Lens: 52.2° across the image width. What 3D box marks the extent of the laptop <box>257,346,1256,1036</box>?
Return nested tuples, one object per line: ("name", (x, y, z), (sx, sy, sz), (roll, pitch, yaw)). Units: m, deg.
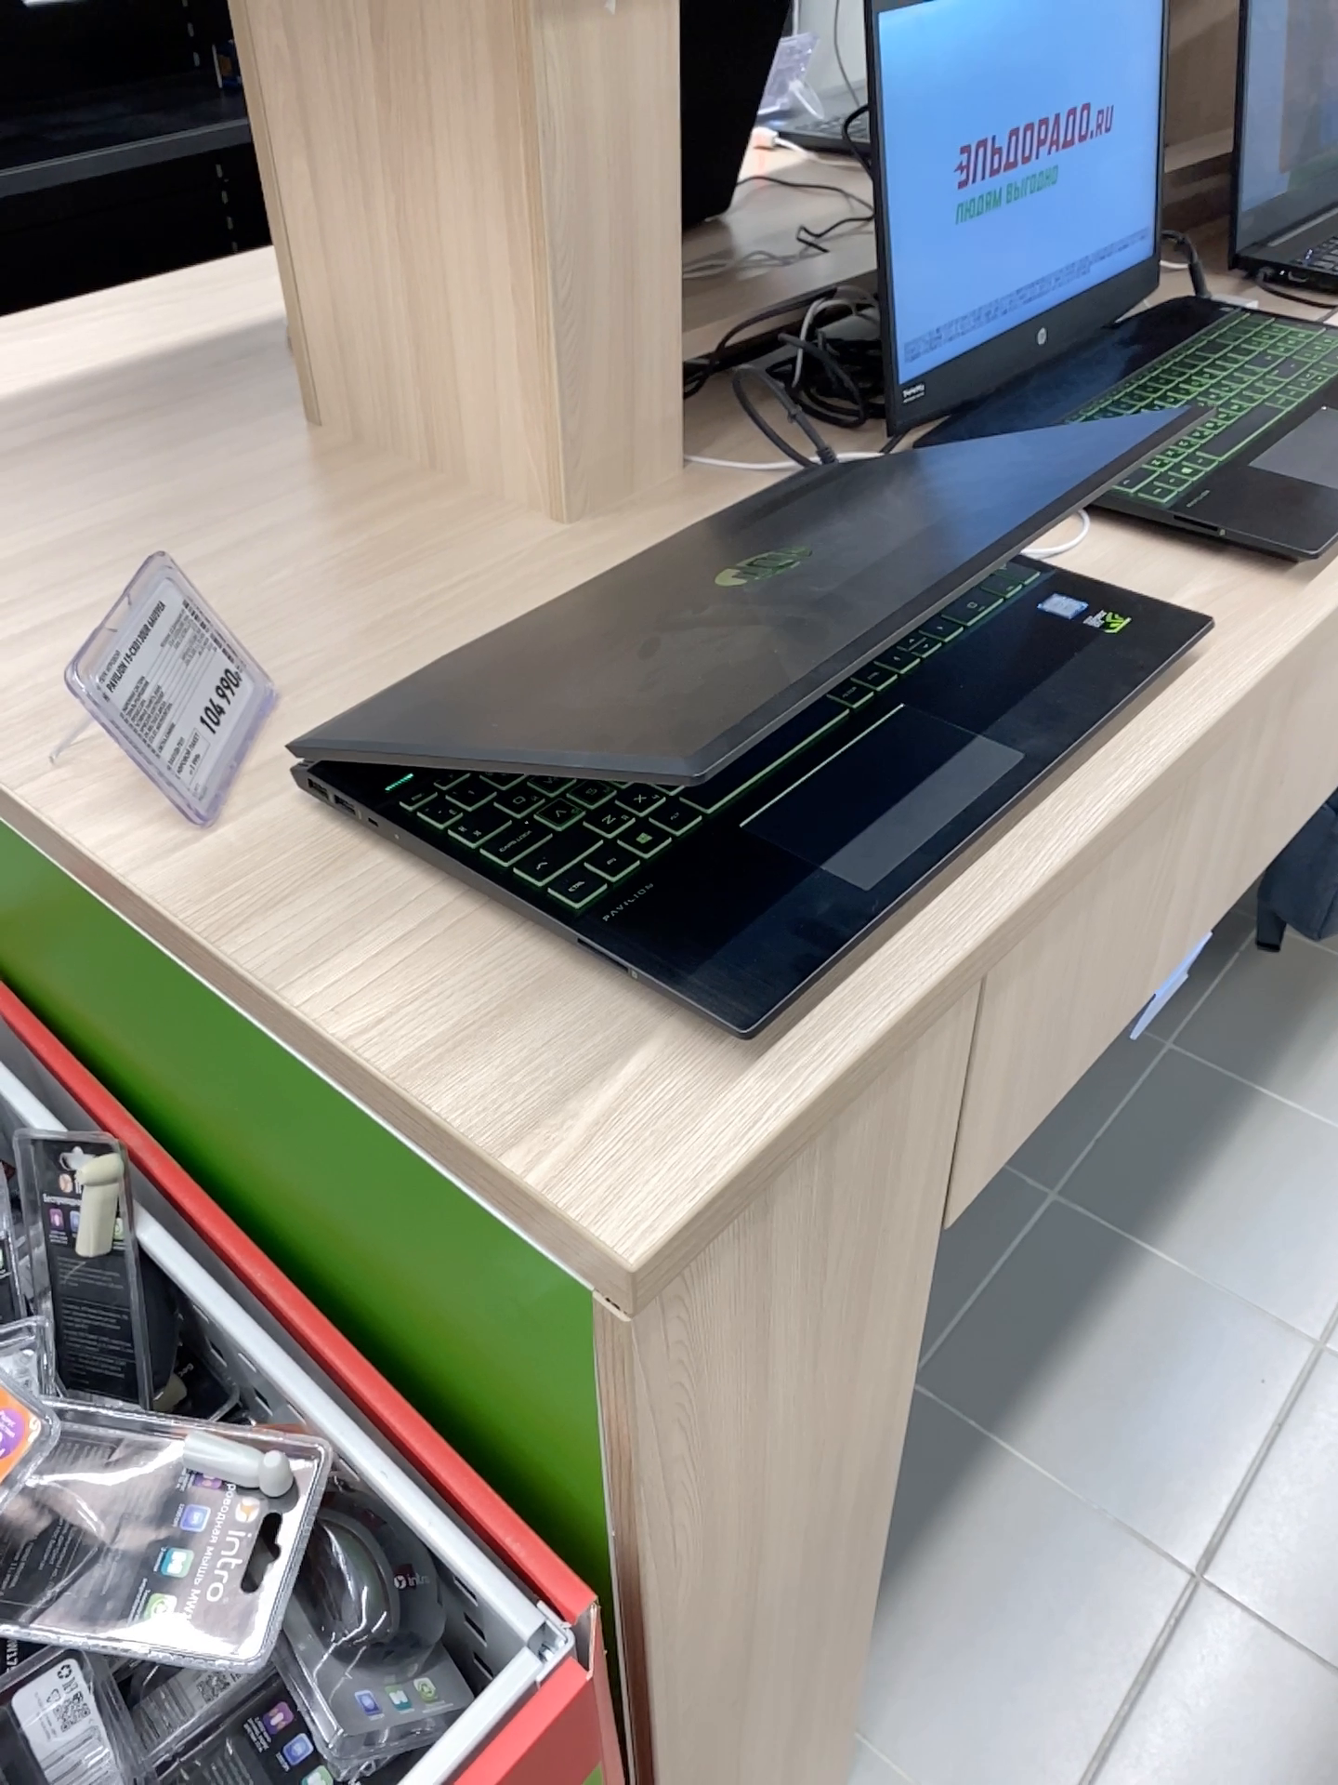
("laptop", (0.054, -0.124, 0.596), (0.241, 0.086, 0.366), (29, 47, 30))
